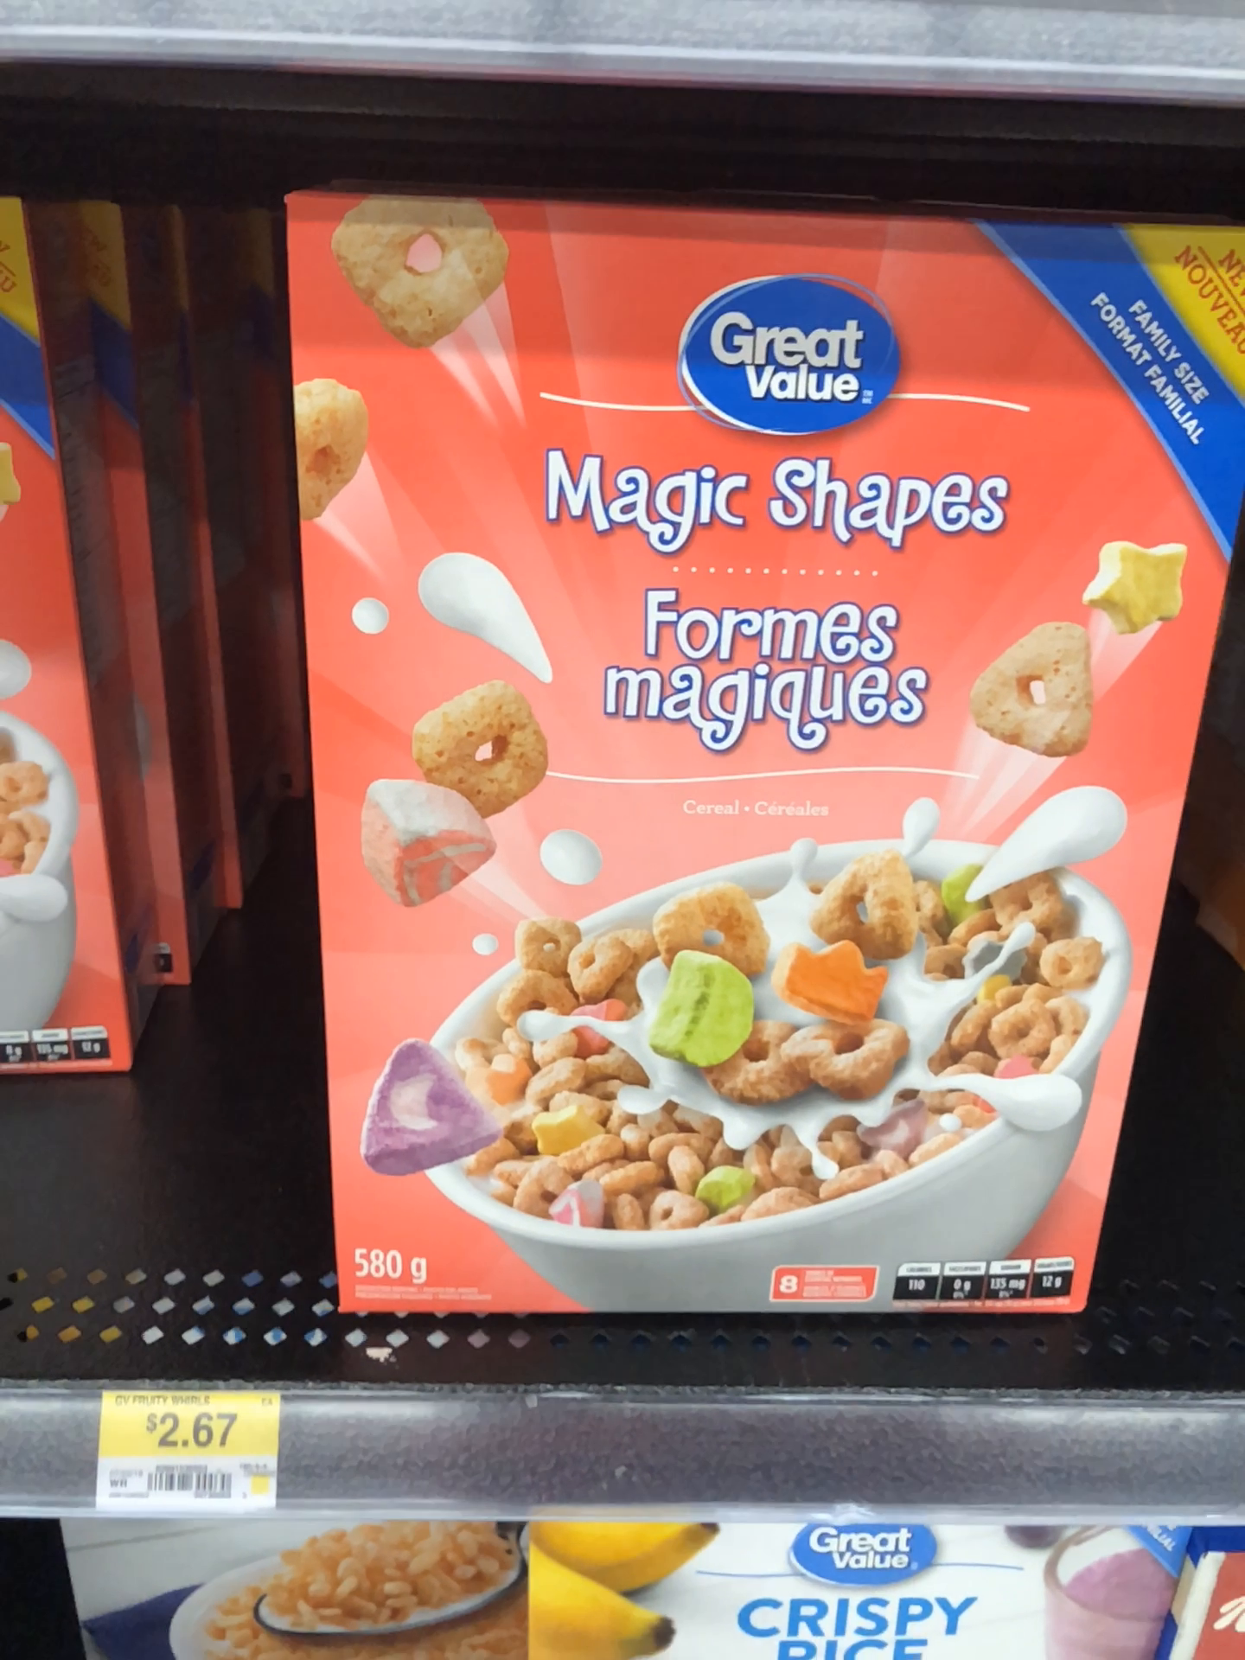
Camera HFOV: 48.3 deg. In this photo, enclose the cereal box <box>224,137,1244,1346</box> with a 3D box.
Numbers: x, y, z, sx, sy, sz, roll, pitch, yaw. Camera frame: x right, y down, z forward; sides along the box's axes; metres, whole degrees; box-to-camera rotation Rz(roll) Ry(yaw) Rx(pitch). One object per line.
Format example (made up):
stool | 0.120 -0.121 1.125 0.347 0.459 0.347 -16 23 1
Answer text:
cereal box | 0.027 -0.010 0.416 0.250 0.339 0.080 1 21 -3
